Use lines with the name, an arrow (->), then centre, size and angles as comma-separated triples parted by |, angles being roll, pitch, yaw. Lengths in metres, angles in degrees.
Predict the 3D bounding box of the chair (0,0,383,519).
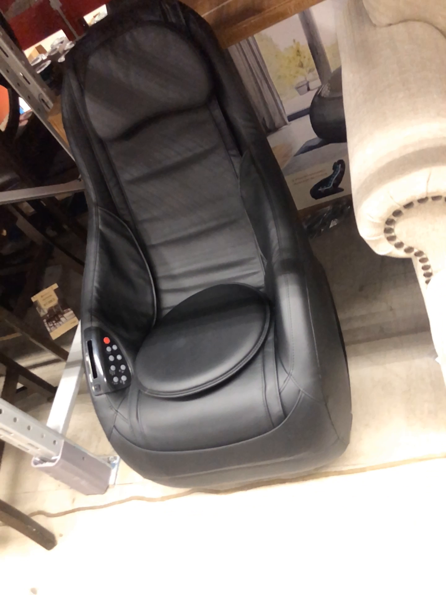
chair -> -0.155, -0.058, 1.042 | 0.651, 0.847, 0.701 | -18, 45, 20
